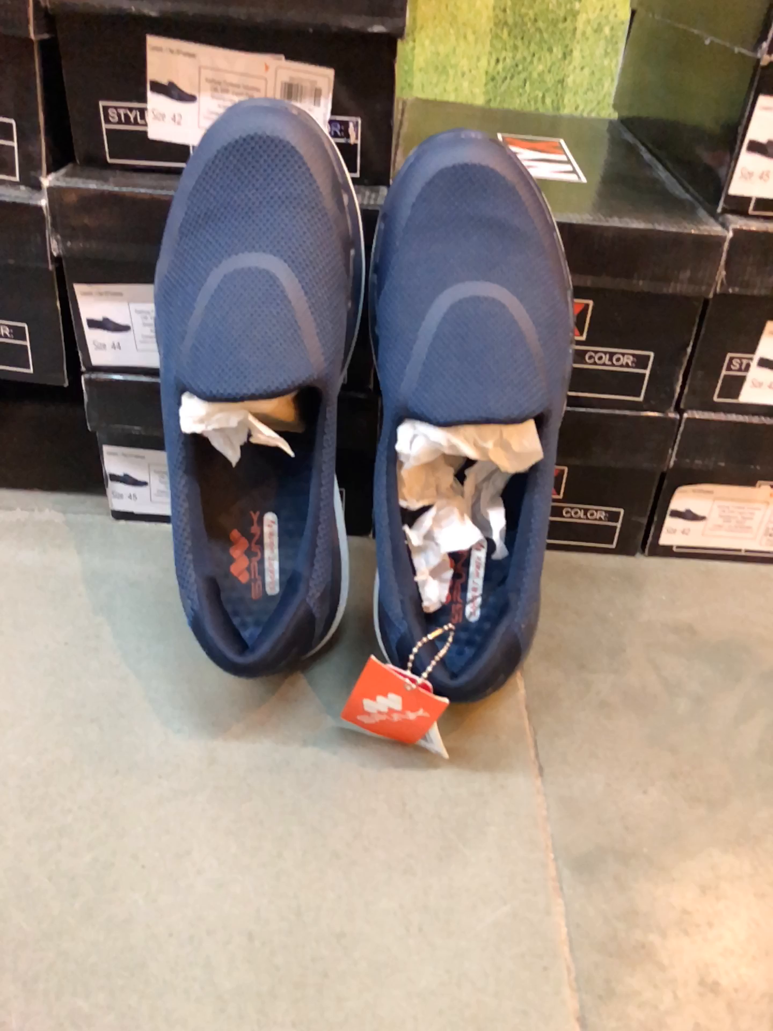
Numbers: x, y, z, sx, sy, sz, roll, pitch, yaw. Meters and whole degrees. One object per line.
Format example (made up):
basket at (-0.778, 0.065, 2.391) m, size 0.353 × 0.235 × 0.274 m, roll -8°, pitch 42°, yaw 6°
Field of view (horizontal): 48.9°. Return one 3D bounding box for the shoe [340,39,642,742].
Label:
shoe at (0.038, -0.049, 0.387) m, size 0.107 × 0.273 × 0.099 m, roll 2°, pitch 8°, yaw -1°

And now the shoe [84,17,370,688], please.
shoe at (-0.066, -0.069, 0.409) m, size 0.109 × 0.273 × 0.110 m, roll 1°, pitch 9°, yaw 0°
